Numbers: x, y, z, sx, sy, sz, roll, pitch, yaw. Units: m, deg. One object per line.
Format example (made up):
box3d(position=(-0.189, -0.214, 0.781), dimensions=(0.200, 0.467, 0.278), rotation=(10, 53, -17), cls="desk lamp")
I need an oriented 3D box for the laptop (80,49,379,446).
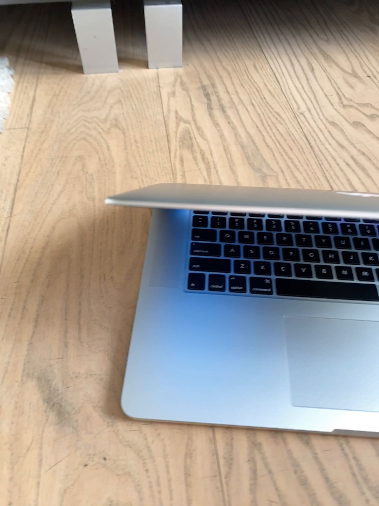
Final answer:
box3d(position=(0.139, -0.010, 0.301), dimensions=(0.361, 0.157, 0.237), rotation=(4, 53, 1), cls="laptop")
